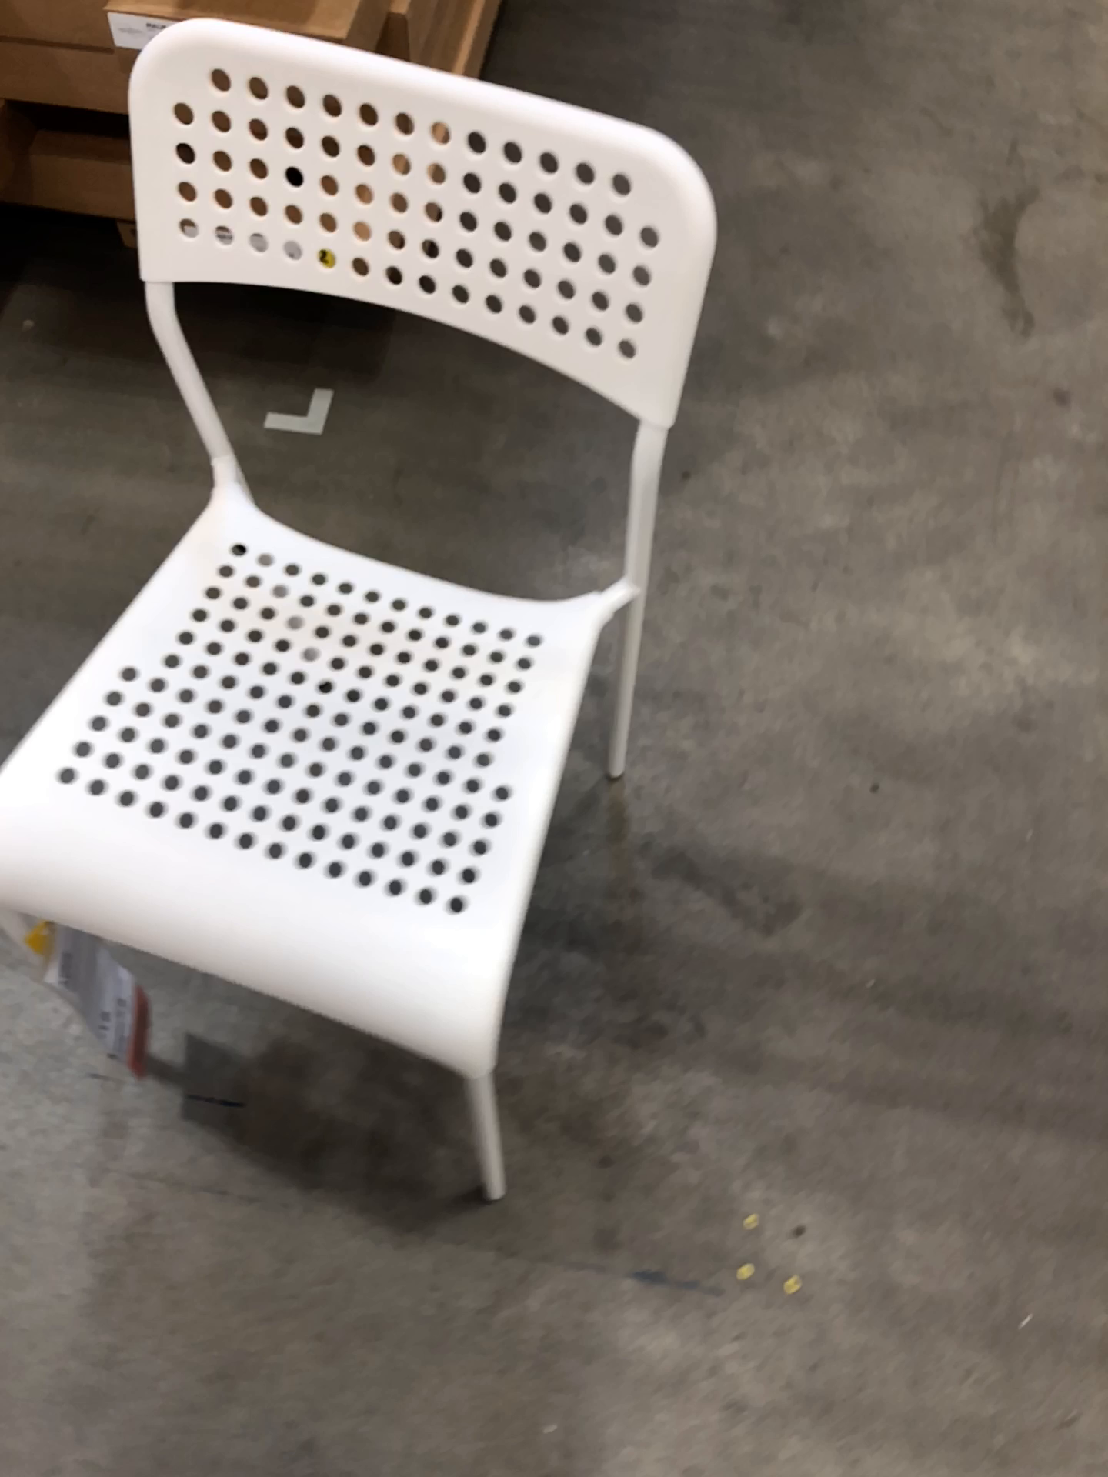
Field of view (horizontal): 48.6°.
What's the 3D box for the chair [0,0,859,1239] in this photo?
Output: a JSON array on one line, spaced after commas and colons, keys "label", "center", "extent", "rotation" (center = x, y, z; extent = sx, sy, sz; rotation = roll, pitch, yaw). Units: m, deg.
[{"label": "chair", "center": [-0.151, -0.022, 0.885], "extent": [0.460, 0.699, 0.511], "rotation": [19, 63, 8]}]
